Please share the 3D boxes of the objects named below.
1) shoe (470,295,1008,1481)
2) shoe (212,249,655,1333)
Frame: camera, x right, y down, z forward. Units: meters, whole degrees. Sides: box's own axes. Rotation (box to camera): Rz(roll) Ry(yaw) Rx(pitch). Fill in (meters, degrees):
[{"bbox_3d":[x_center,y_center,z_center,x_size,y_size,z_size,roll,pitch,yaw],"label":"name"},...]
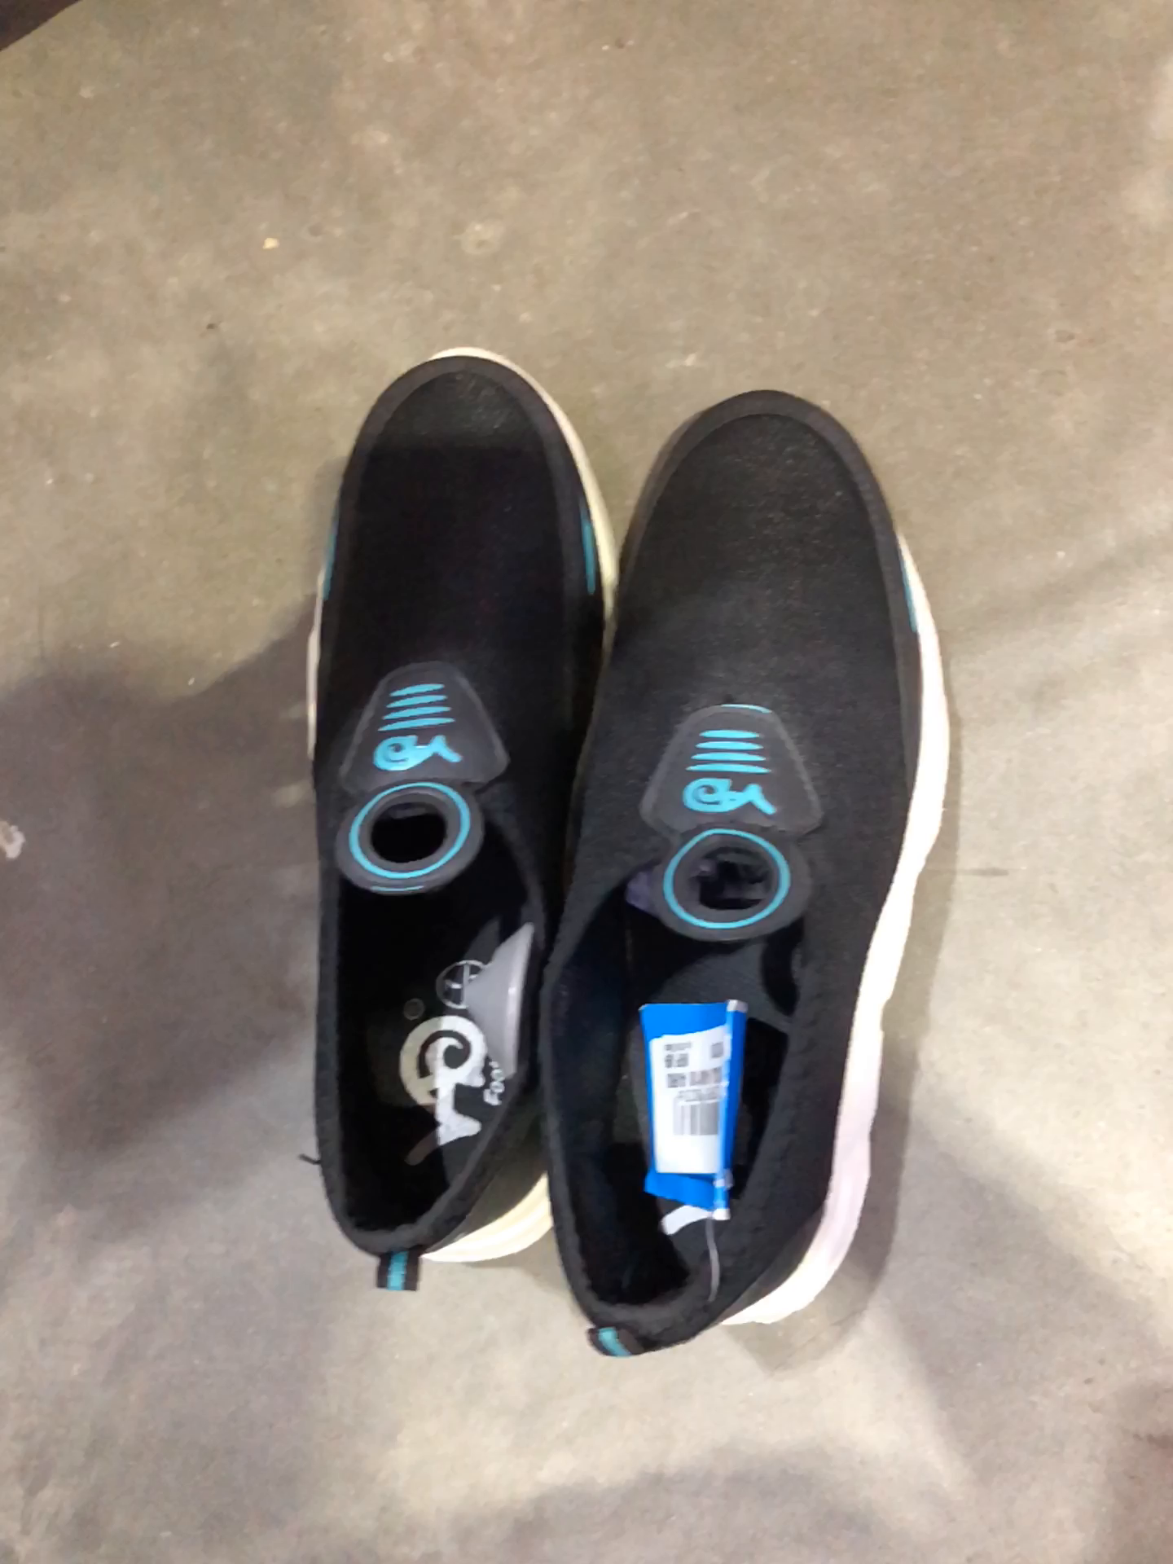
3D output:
[{"bbox_3d":[0.050,0.022,0.389,0.110,0.100,0.300,6,84,12],"label":"shoe"},{"bbox_3d":[-0.040,0.001,0.416,0.110,0.100,0.300,-1,83,11],"label":"shoe"}]
